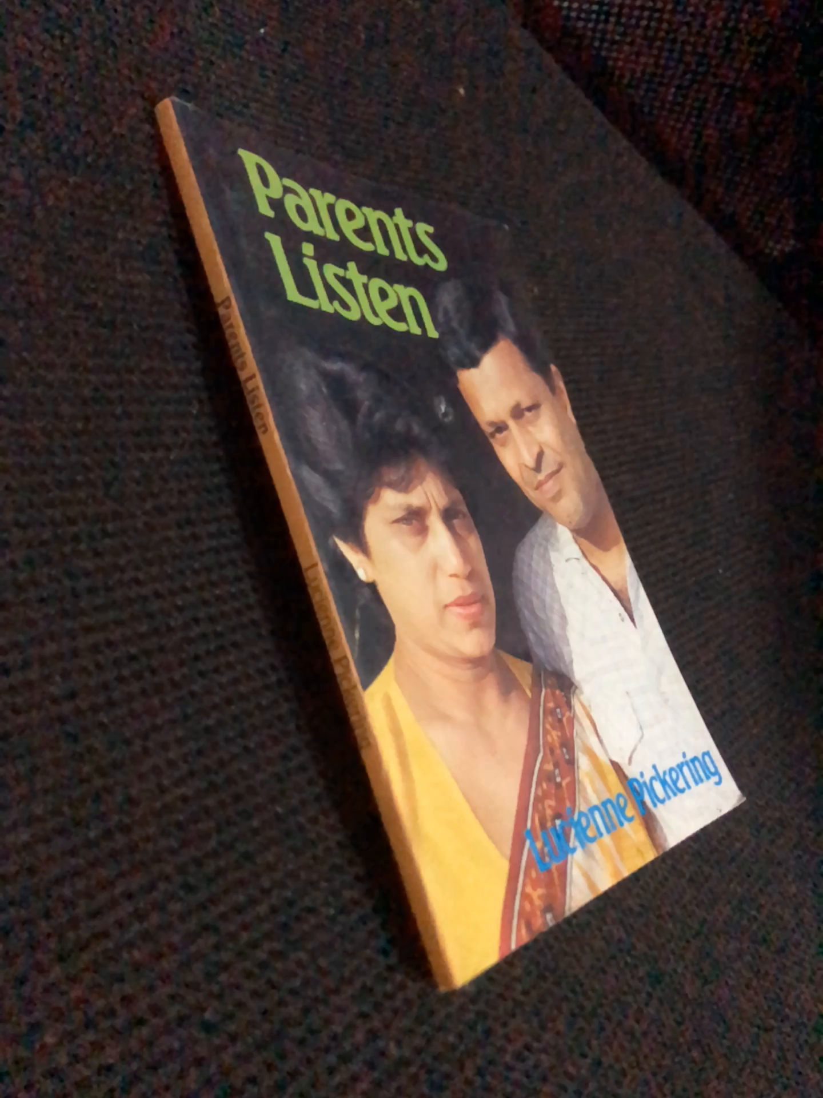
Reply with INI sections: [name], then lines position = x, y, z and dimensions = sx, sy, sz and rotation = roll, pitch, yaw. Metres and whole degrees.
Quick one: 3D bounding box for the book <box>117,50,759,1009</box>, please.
[book]
position = 0.015, -0.016, 0.219
dimensions = 0.130, 0.010, 0.190
rotation = -3, 68, -50
